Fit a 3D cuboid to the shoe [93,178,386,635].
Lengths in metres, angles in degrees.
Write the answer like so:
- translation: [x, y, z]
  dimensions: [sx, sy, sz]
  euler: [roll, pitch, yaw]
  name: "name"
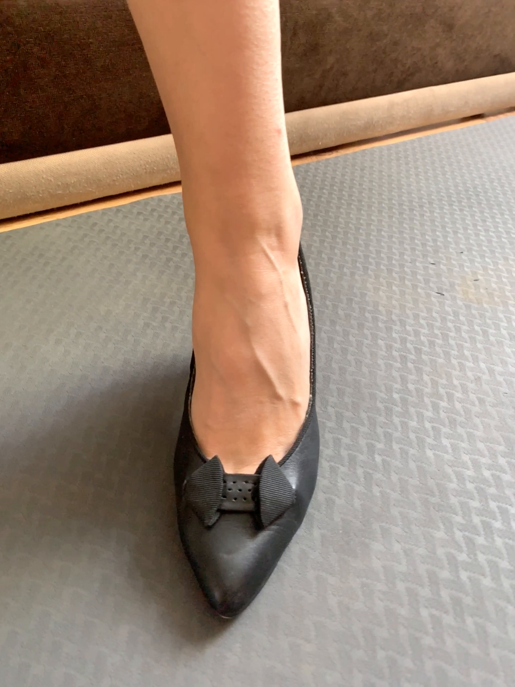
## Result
- translation: [-0.004, 0.009, 0.283]
  dimensions: [0.090, 0.099, 0.231]
  euler: [3, 40, 0]
  name: "shoe"
